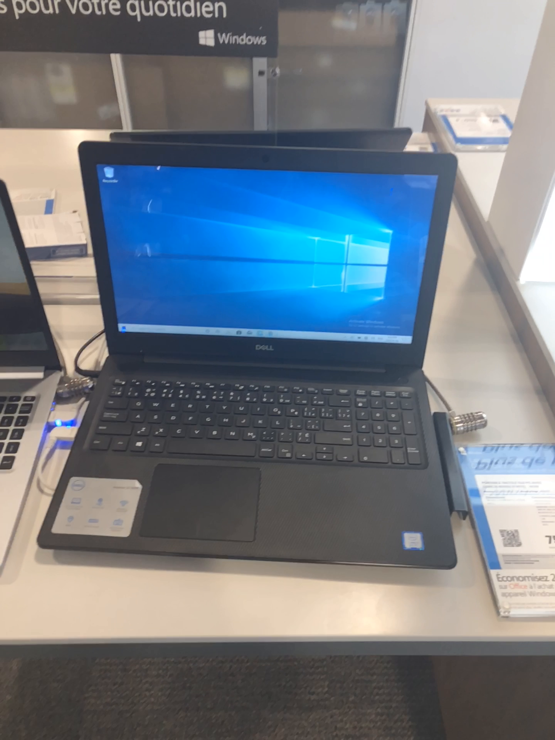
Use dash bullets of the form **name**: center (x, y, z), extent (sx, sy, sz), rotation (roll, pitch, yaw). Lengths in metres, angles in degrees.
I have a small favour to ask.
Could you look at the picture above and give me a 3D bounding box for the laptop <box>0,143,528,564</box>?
- **laptop**: center (-0.023, -0.029, 0.573), extent (0.368, 0.230, 0.311), rotation (2, 44, 1)
